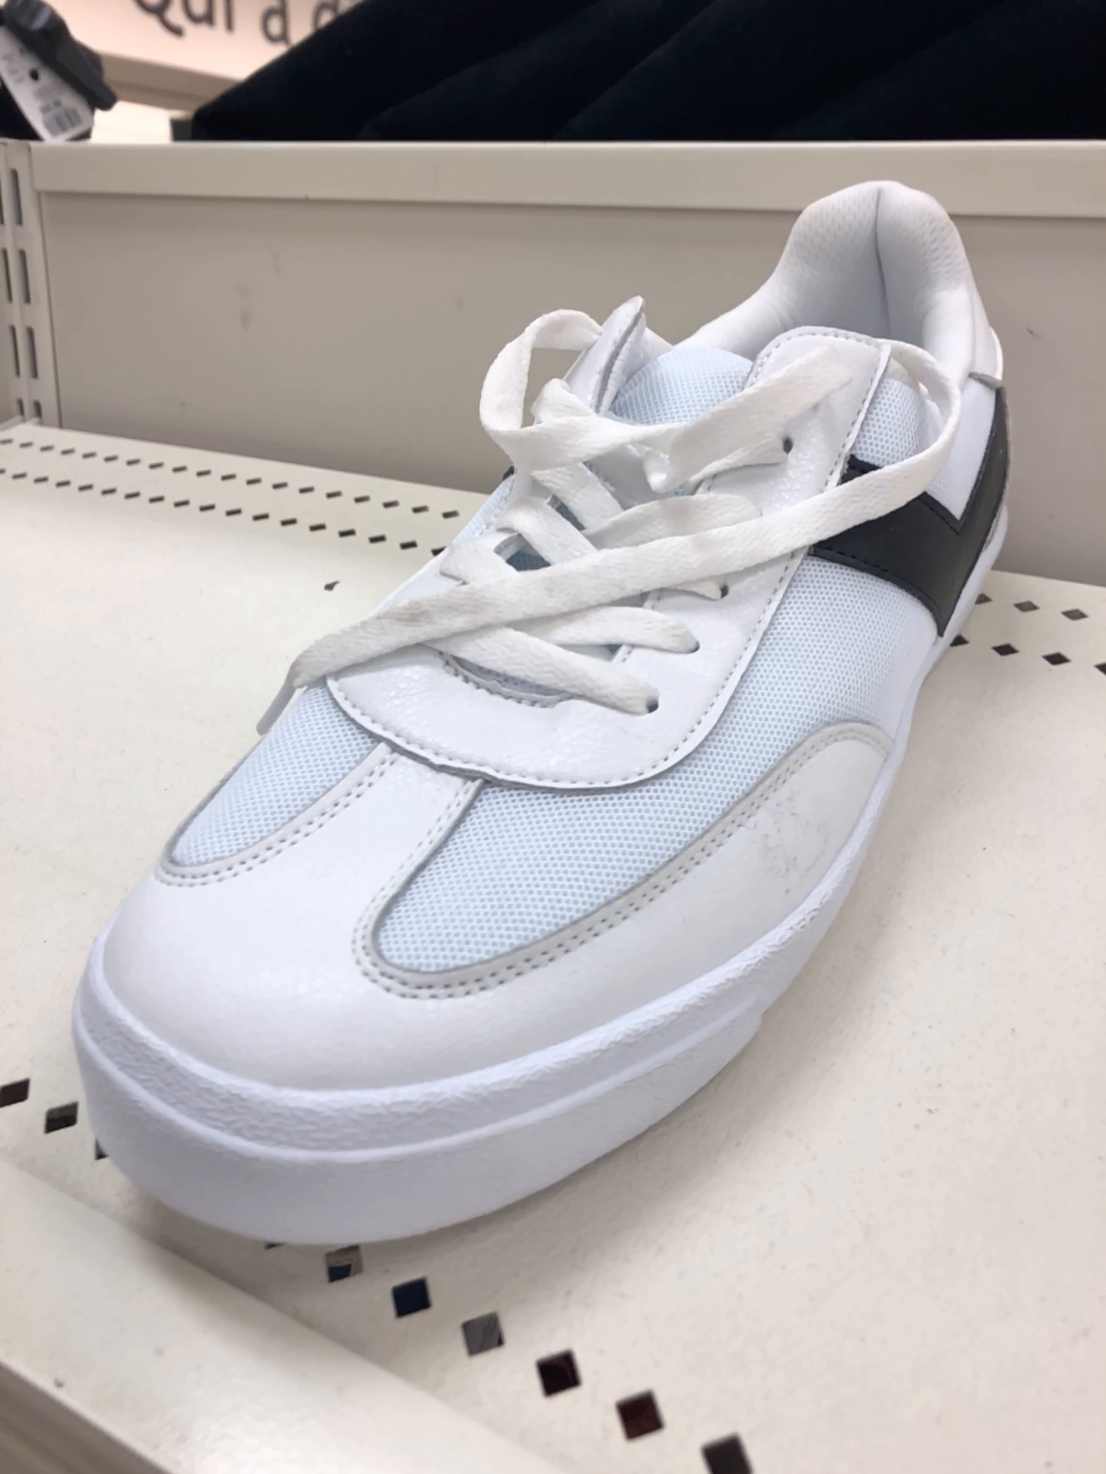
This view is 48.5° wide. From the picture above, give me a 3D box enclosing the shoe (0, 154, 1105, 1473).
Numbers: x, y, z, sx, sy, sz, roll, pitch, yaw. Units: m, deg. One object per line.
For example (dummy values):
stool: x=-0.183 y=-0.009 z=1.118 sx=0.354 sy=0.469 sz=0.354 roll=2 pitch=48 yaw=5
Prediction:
shoe: x=0.055 y=-0.054 z=0.276 sx=0.113 sy=0.129 sz=0.372 roll=16 pitch=31 yaw=32
